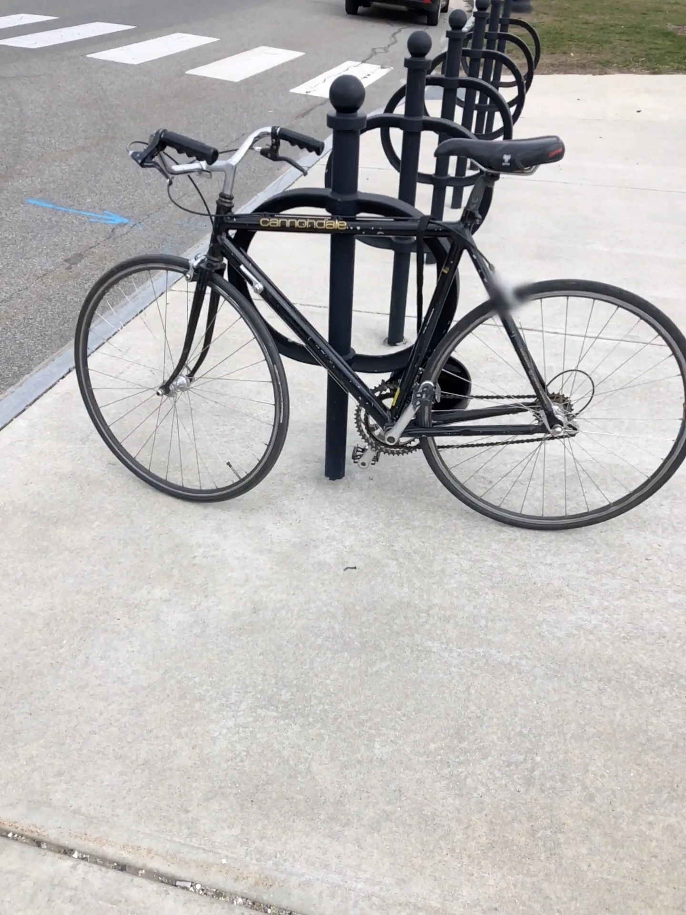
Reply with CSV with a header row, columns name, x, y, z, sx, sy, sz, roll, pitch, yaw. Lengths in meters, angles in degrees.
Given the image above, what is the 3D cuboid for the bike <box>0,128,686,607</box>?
name,x,y,z,sx,sy,sz,roll,pitch,yaw
bike,0.035,-0.220,1.609,1.382,0.805,0.488,6,36,10
